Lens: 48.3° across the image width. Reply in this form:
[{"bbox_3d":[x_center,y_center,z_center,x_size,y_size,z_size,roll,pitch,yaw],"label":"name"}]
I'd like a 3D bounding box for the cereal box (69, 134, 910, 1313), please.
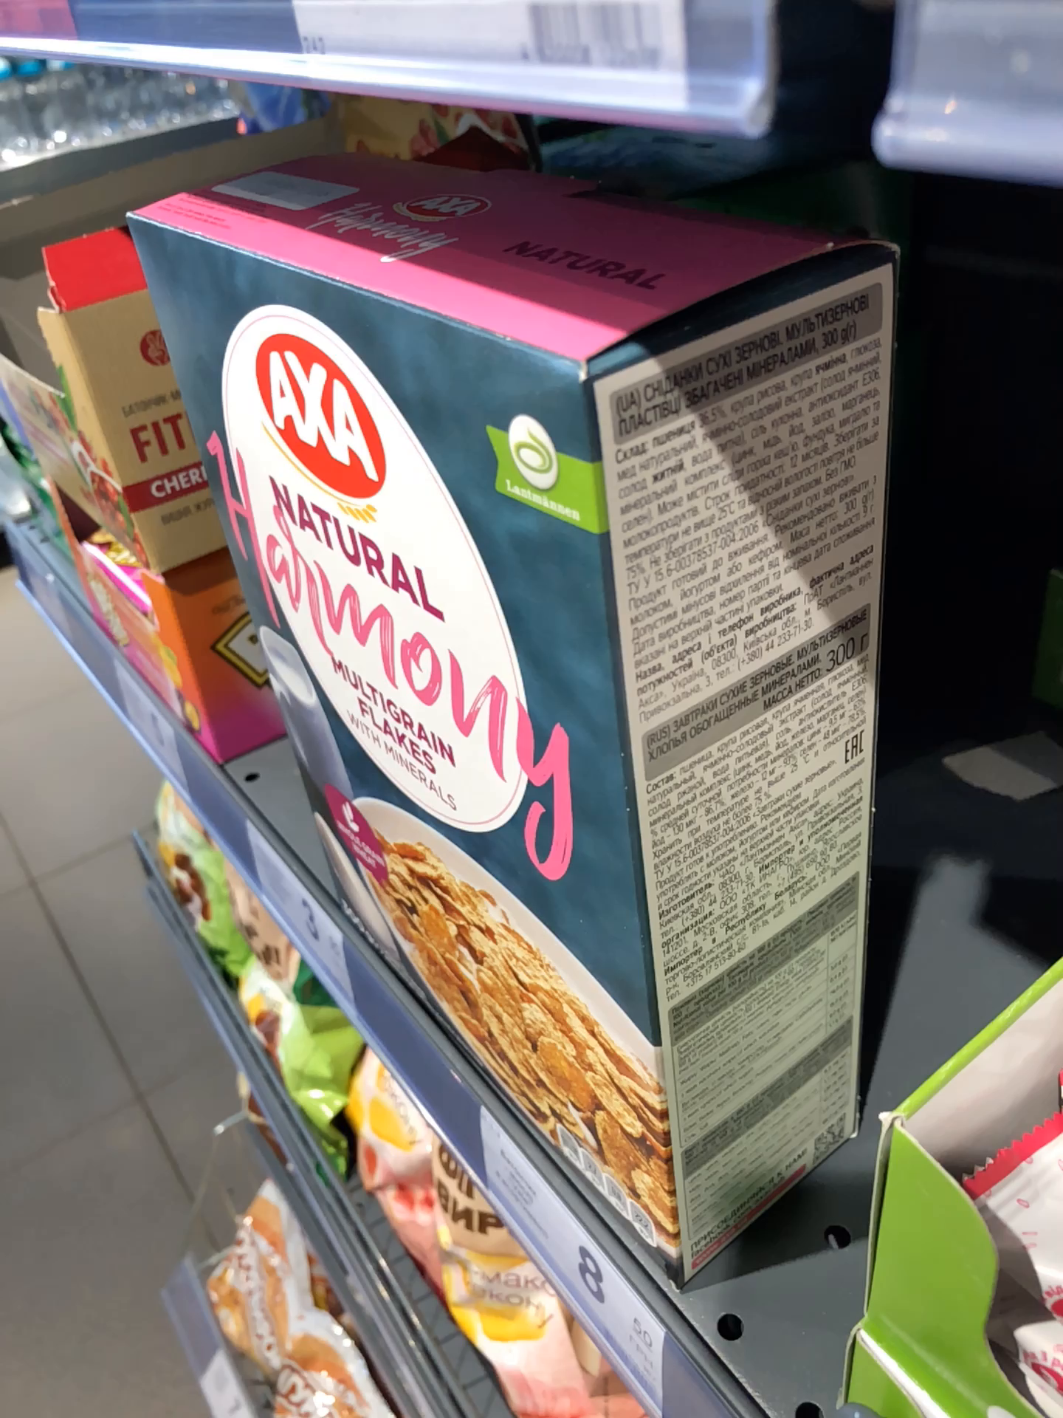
[{"bbox_3d":[-0.011,-0.005,0.283,0.070,0.218,0.181,-28,39,-24],"label":"cereal box"}]
